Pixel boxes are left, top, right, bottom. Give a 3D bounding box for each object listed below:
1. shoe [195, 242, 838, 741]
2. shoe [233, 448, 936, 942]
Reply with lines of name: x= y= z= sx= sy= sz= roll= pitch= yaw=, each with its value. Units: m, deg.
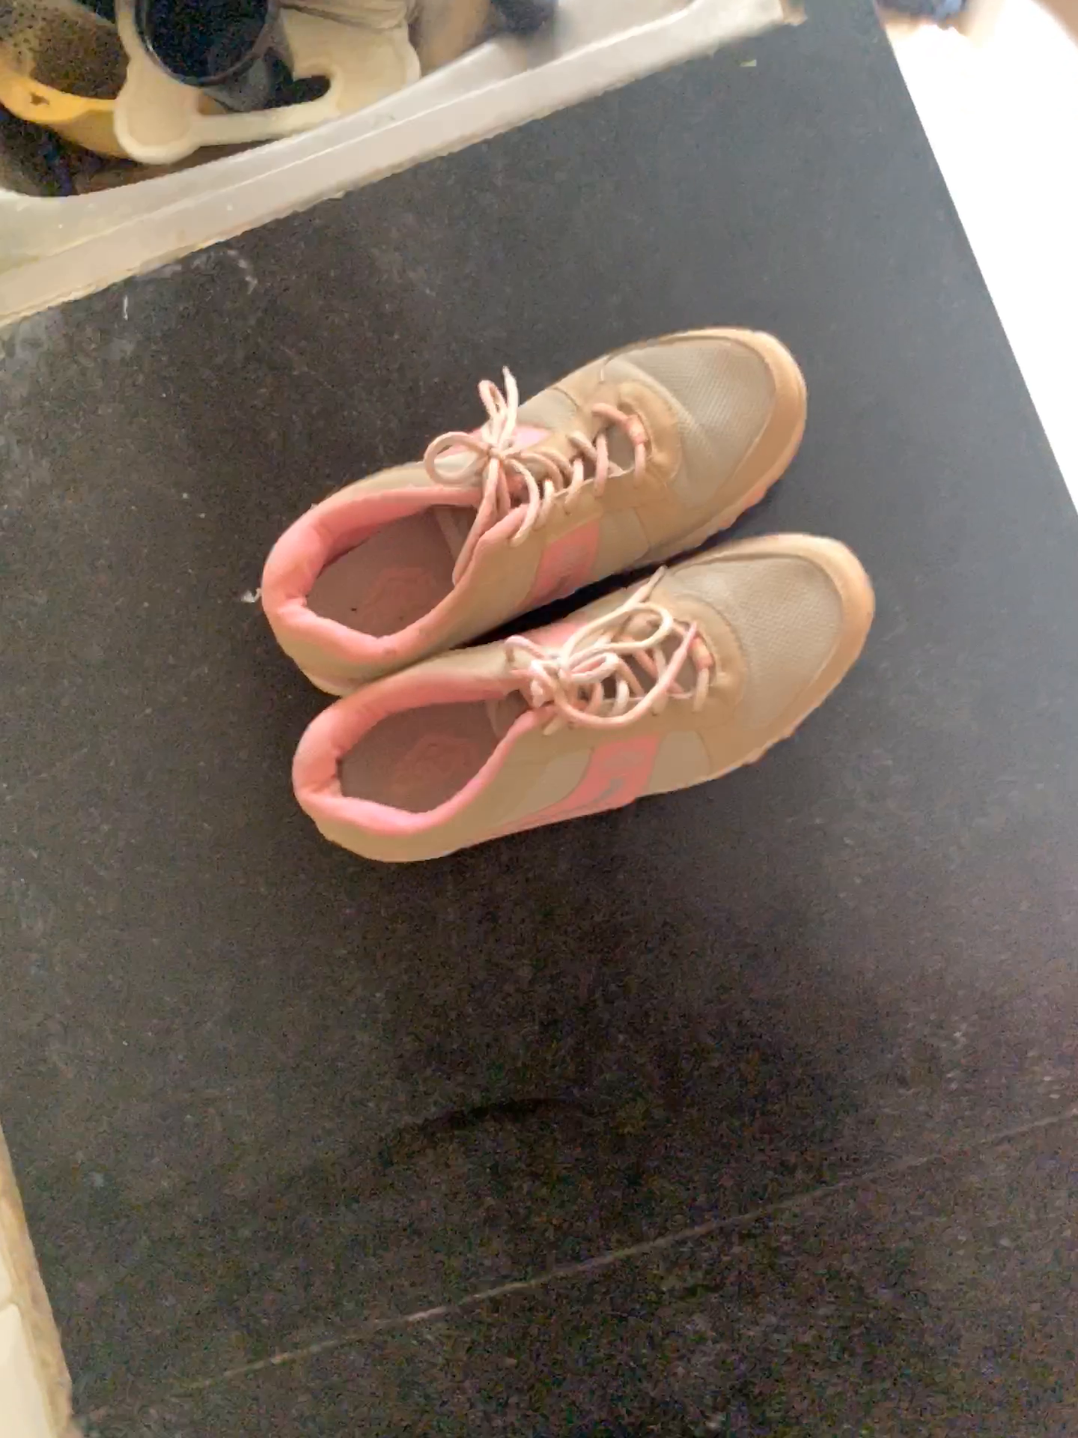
shoe: x=-0.007 y=-0.085 z=0.470 sx=0.230 sy=0.100 sz=0.090 roll=-27 pitch=83 yaw=3
shoe: x=0.018 y=-0.004 z=0.459 sx=0.240 sy=0.100 sz=0.100 roll=-22 pitch=83 yaw=4
